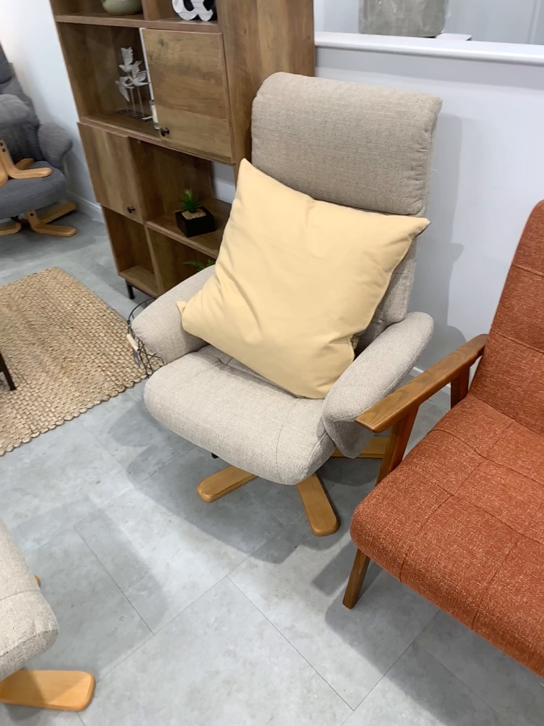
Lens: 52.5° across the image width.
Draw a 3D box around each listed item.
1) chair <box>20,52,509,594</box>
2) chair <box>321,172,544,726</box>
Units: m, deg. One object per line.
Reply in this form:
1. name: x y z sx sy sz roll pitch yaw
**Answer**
1. chair: -0.004 -0.128 1.461 0.763 1.047 0.661 24 45 25
2. chair: 0.541 0.168 1.167 0.553 0.919 0.620 27 40 36
